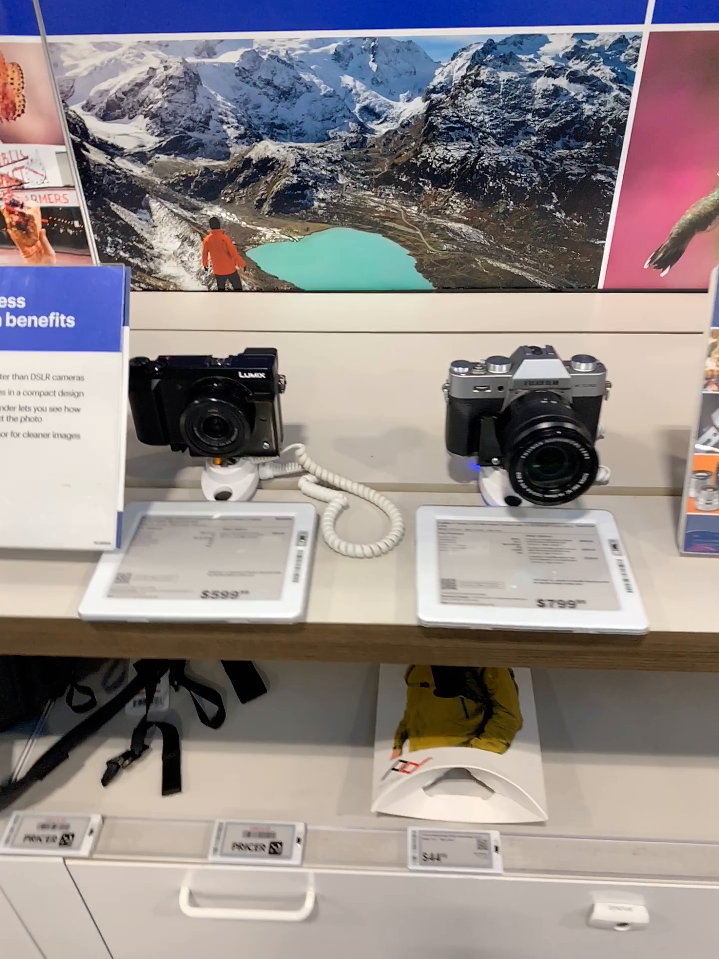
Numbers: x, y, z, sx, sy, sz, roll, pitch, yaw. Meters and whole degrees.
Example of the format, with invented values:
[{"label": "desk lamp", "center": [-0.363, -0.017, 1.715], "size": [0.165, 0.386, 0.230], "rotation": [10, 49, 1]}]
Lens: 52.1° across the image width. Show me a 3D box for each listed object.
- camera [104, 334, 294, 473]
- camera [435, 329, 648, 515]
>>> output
[{"label": "camera", "center": [-0.117, -0.059, 0.562], "size": [0.120, 0.079, 0.070], "rotation": [1, 37, 2]}, {"label": "camera", "center": [0.120, -0.045, 0.526], "size": [0.120, 0.079, 0.121], "rotation": [0, 37, 2]}]
